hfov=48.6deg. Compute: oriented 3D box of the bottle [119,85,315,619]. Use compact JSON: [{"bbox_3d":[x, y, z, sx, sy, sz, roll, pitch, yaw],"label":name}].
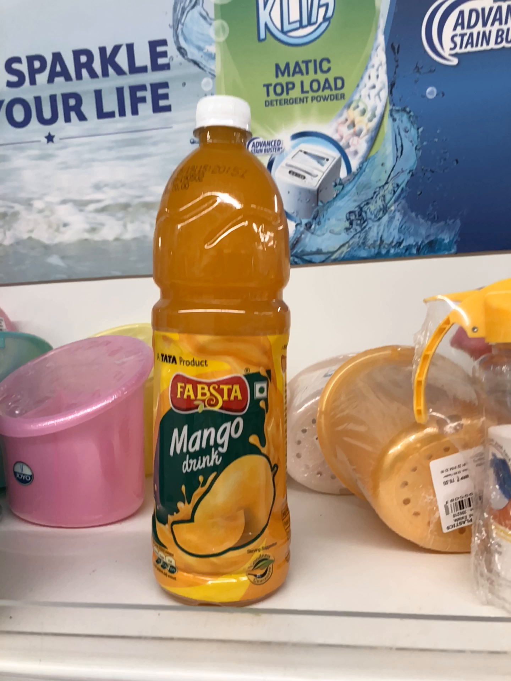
[{"bbox_3d":[-0.018,0.005,0.318,0.090,0.260,0.080,2,4,5],"label":"bottle"}]
